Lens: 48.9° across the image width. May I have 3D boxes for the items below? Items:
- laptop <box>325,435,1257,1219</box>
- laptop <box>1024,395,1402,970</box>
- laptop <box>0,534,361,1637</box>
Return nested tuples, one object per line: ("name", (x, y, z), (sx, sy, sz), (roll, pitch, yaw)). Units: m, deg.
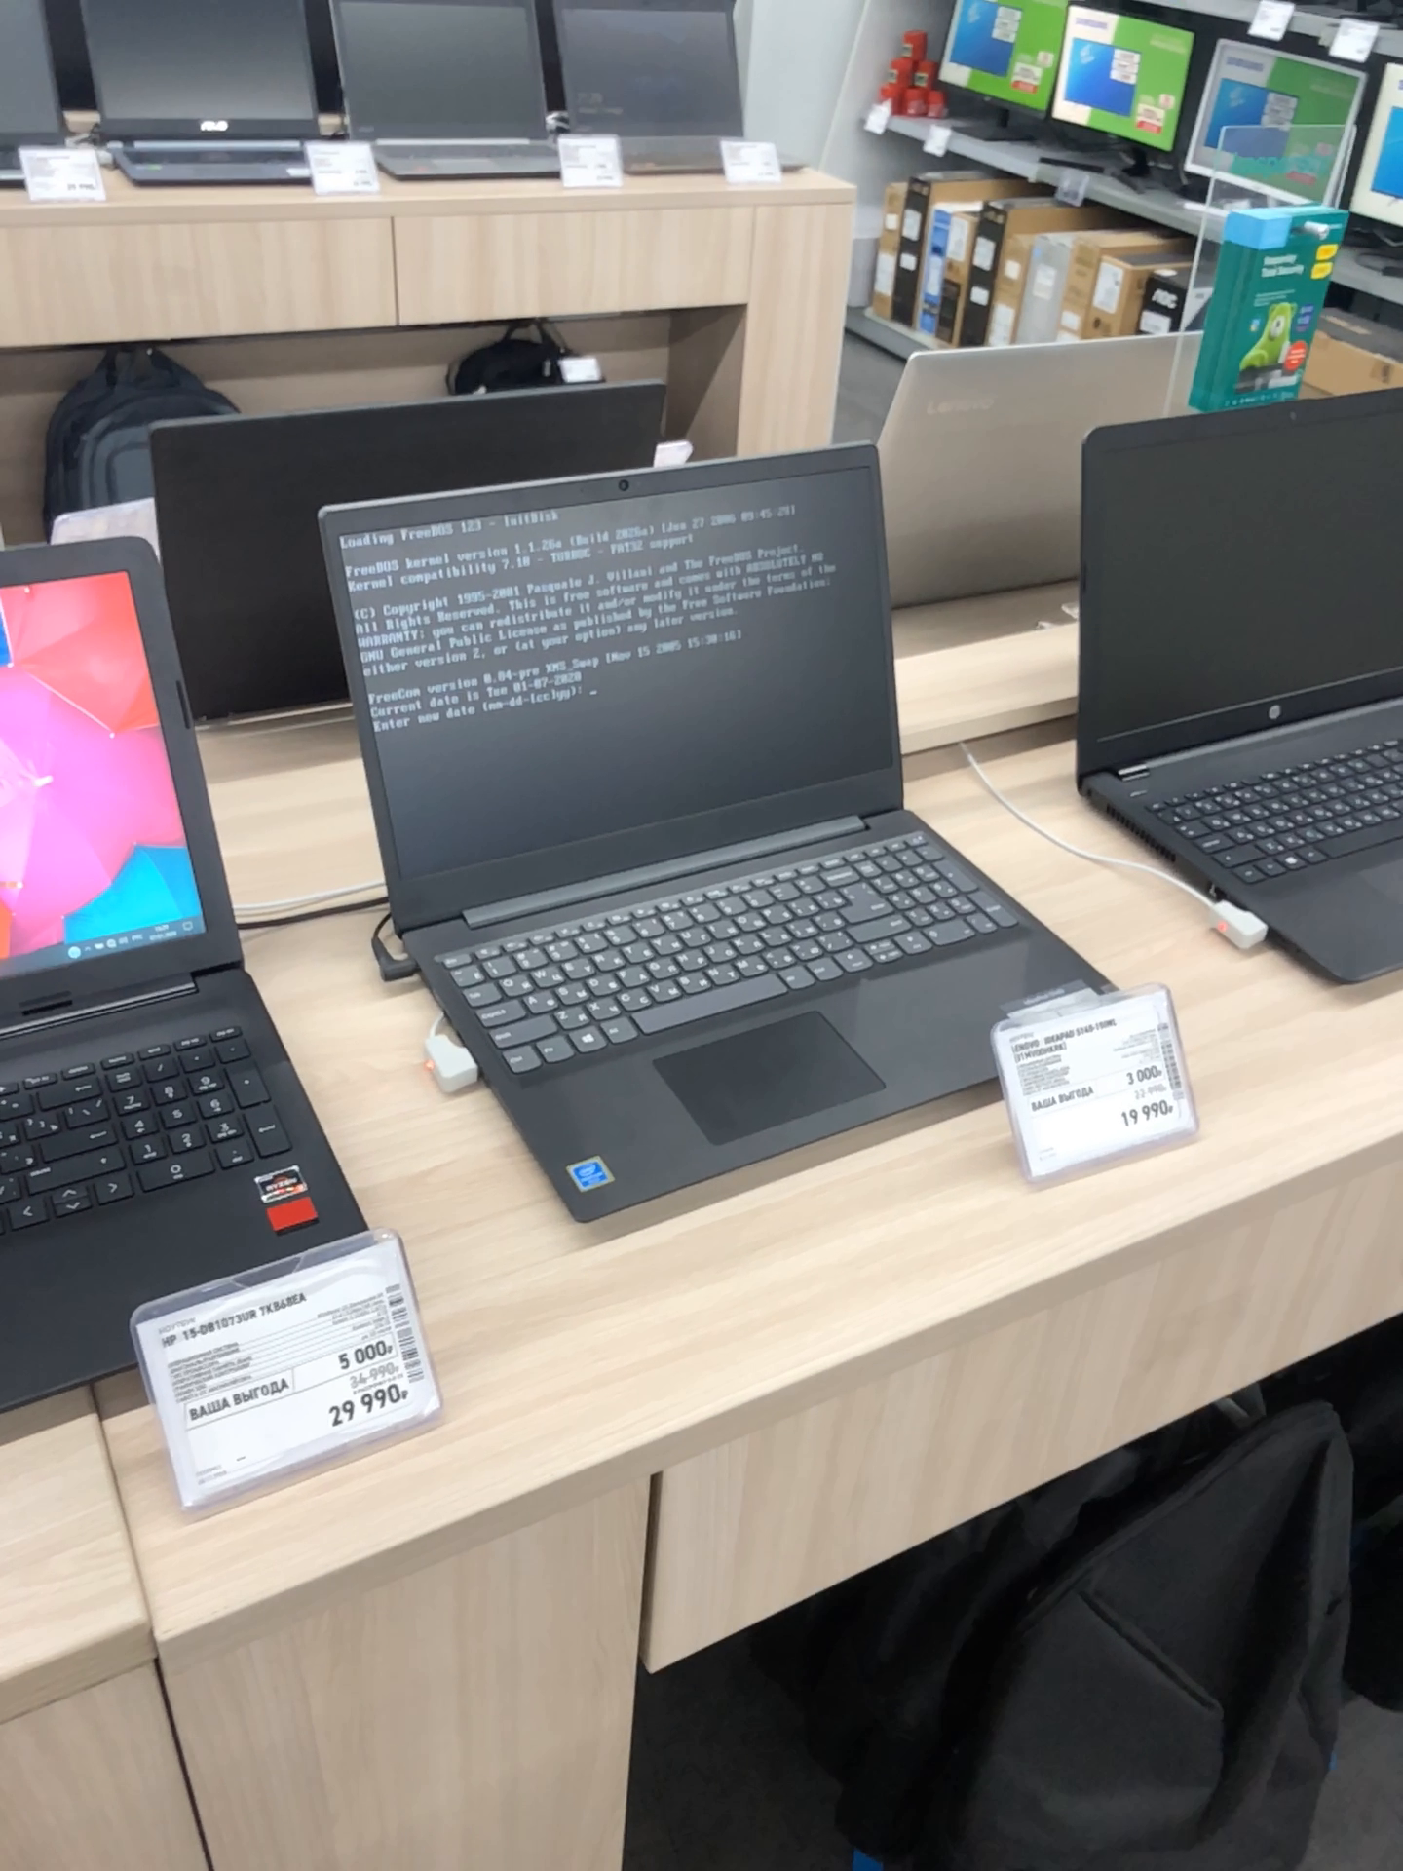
("laptop", (0.025, -0.088, 0.818), (0.340, 0.210, 0.323), (-15, 41, -24))
("laptop", (0.459, -0.182, 0.989), (0.337, 0.208, 0.298), (-15, 41, -25))
("laptop", (-0.362, 0.015, 0.630), (0.352, 0.202, 0.321), (-14, 40, -25))
